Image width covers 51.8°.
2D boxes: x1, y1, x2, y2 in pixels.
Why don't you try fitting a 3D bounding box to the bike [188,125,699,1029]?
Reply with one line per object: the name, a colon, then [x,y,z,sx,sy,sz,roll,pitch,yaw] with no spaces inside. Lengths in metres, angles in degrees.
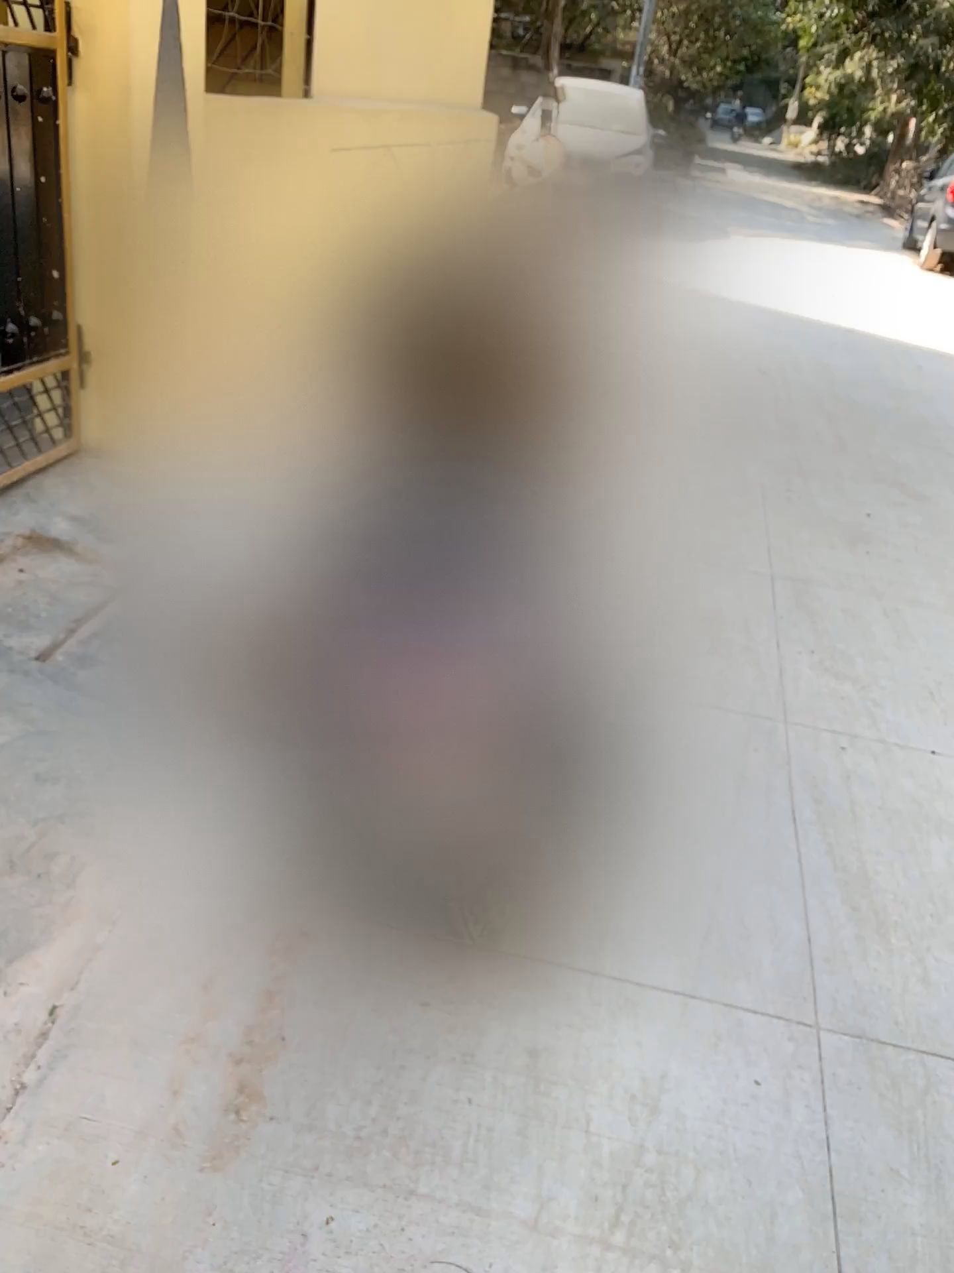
bike: [-0.107,-0.283,2.071,0.613,1.158,1.532,6,32,-4]
